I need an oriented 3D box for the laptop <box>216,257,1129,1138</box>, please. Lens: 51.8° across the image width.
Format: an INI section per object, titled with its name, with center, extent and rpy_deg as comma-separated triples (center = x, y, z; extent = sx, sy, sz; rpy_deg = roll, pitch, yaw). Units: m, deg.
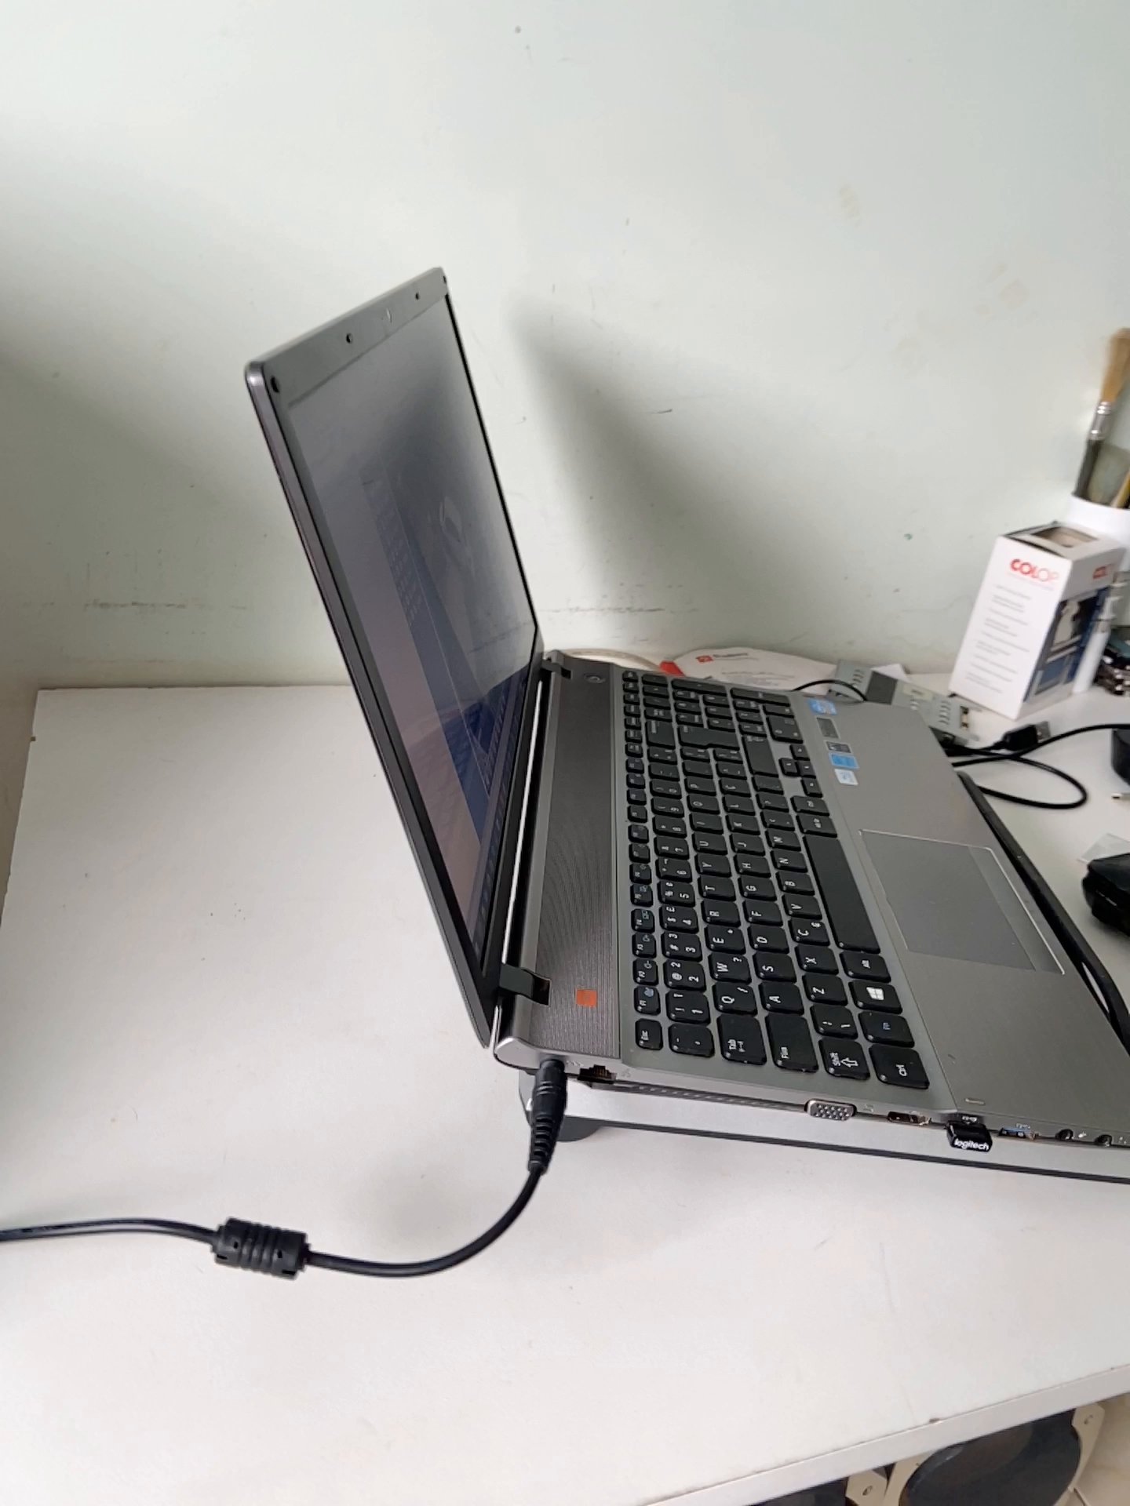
[laptop]
center = 0.068, -0.067, 0.523
extent = 0.334, 0.213, 0.369
rpy_deg = 8, 26, -2
